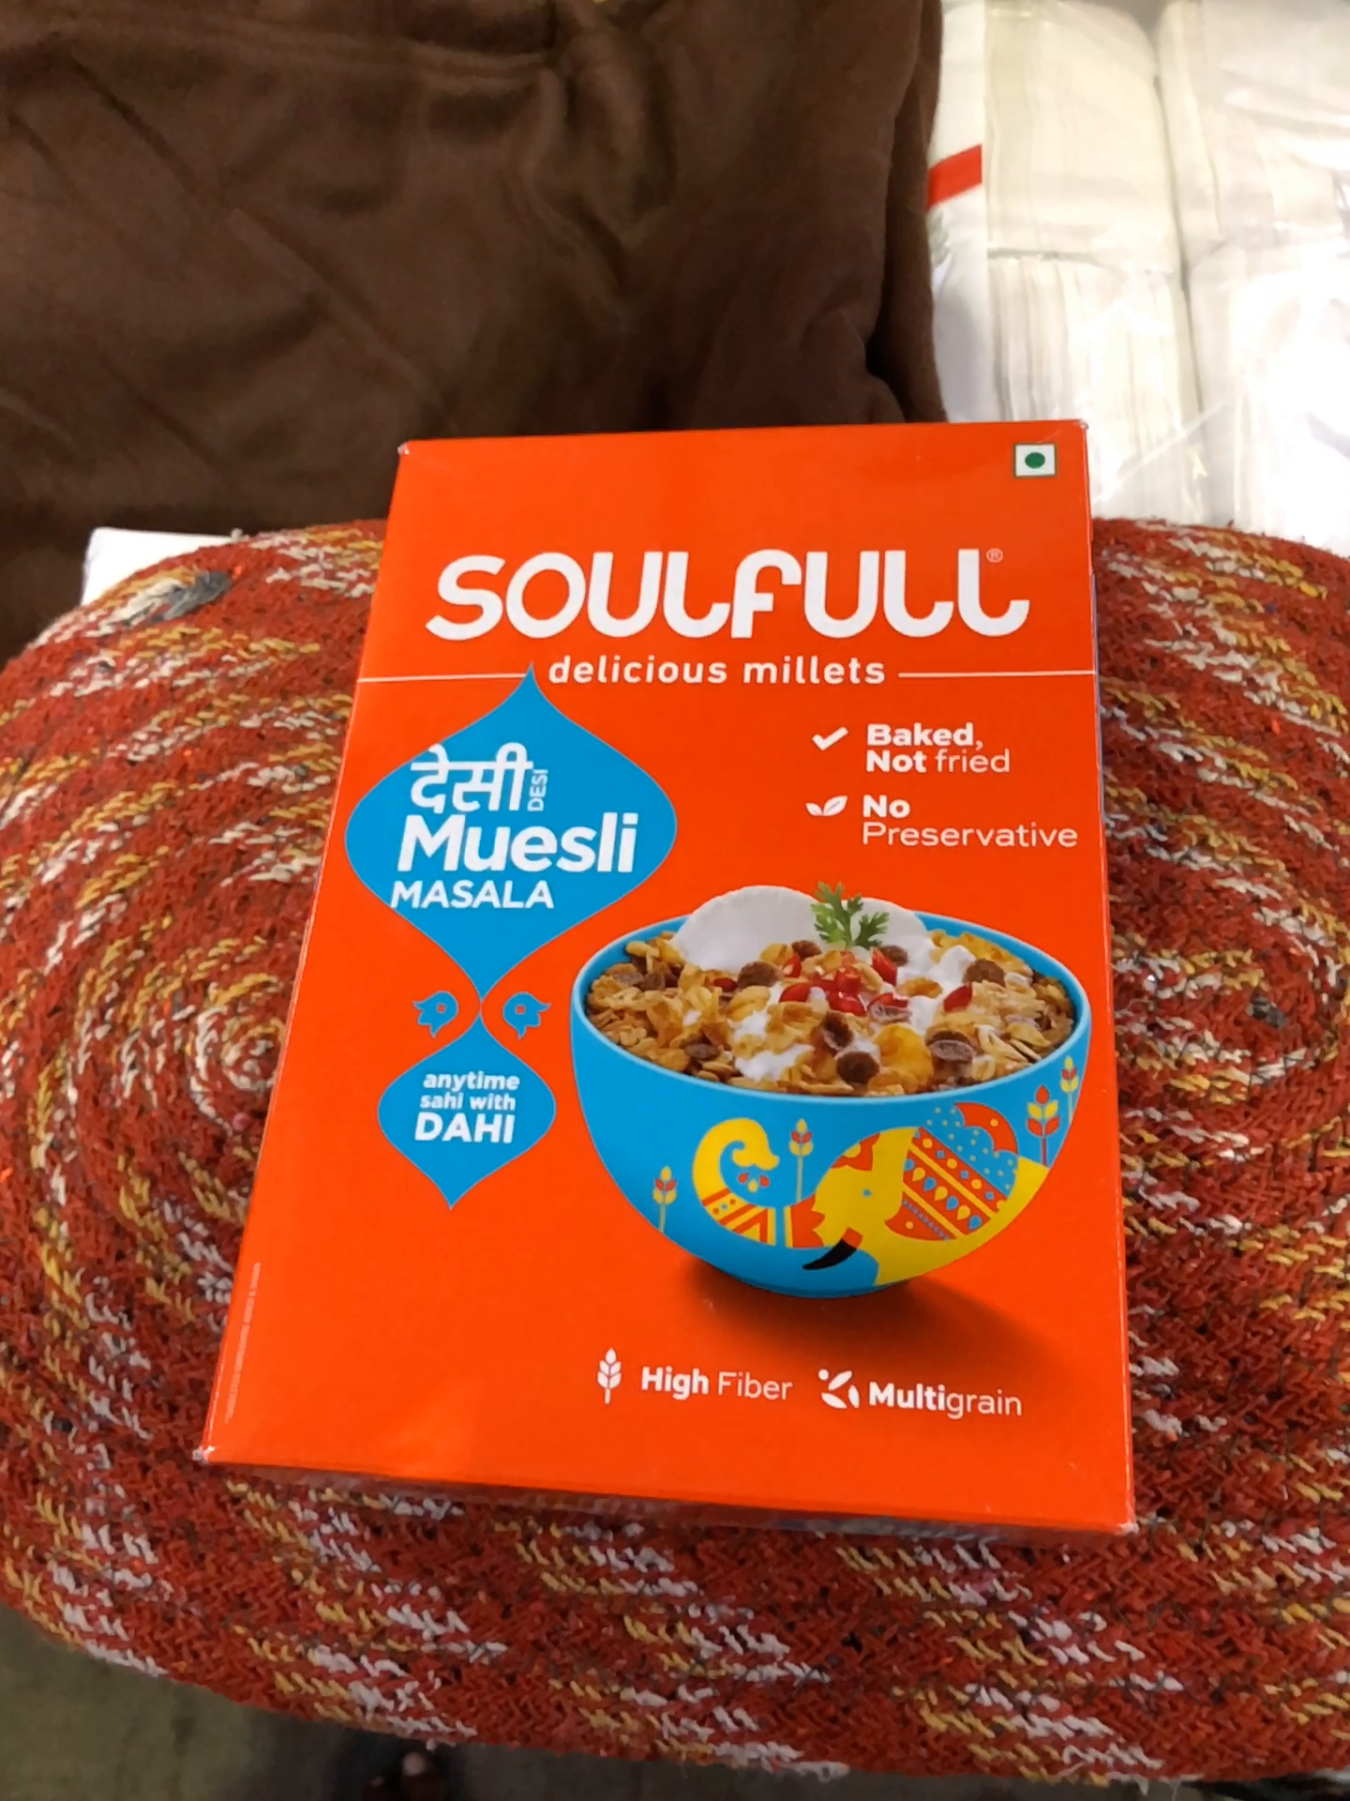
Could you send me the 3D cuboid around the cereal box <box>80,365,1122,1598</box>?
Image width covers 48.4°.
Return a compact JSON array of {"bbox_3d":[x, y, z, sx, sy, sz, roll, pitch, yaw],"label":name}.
[{"bbox_3d":[-0.004,0.005,0.337,0.180,0.060,0.261,0,64,10],"label":"cereal box"}]
